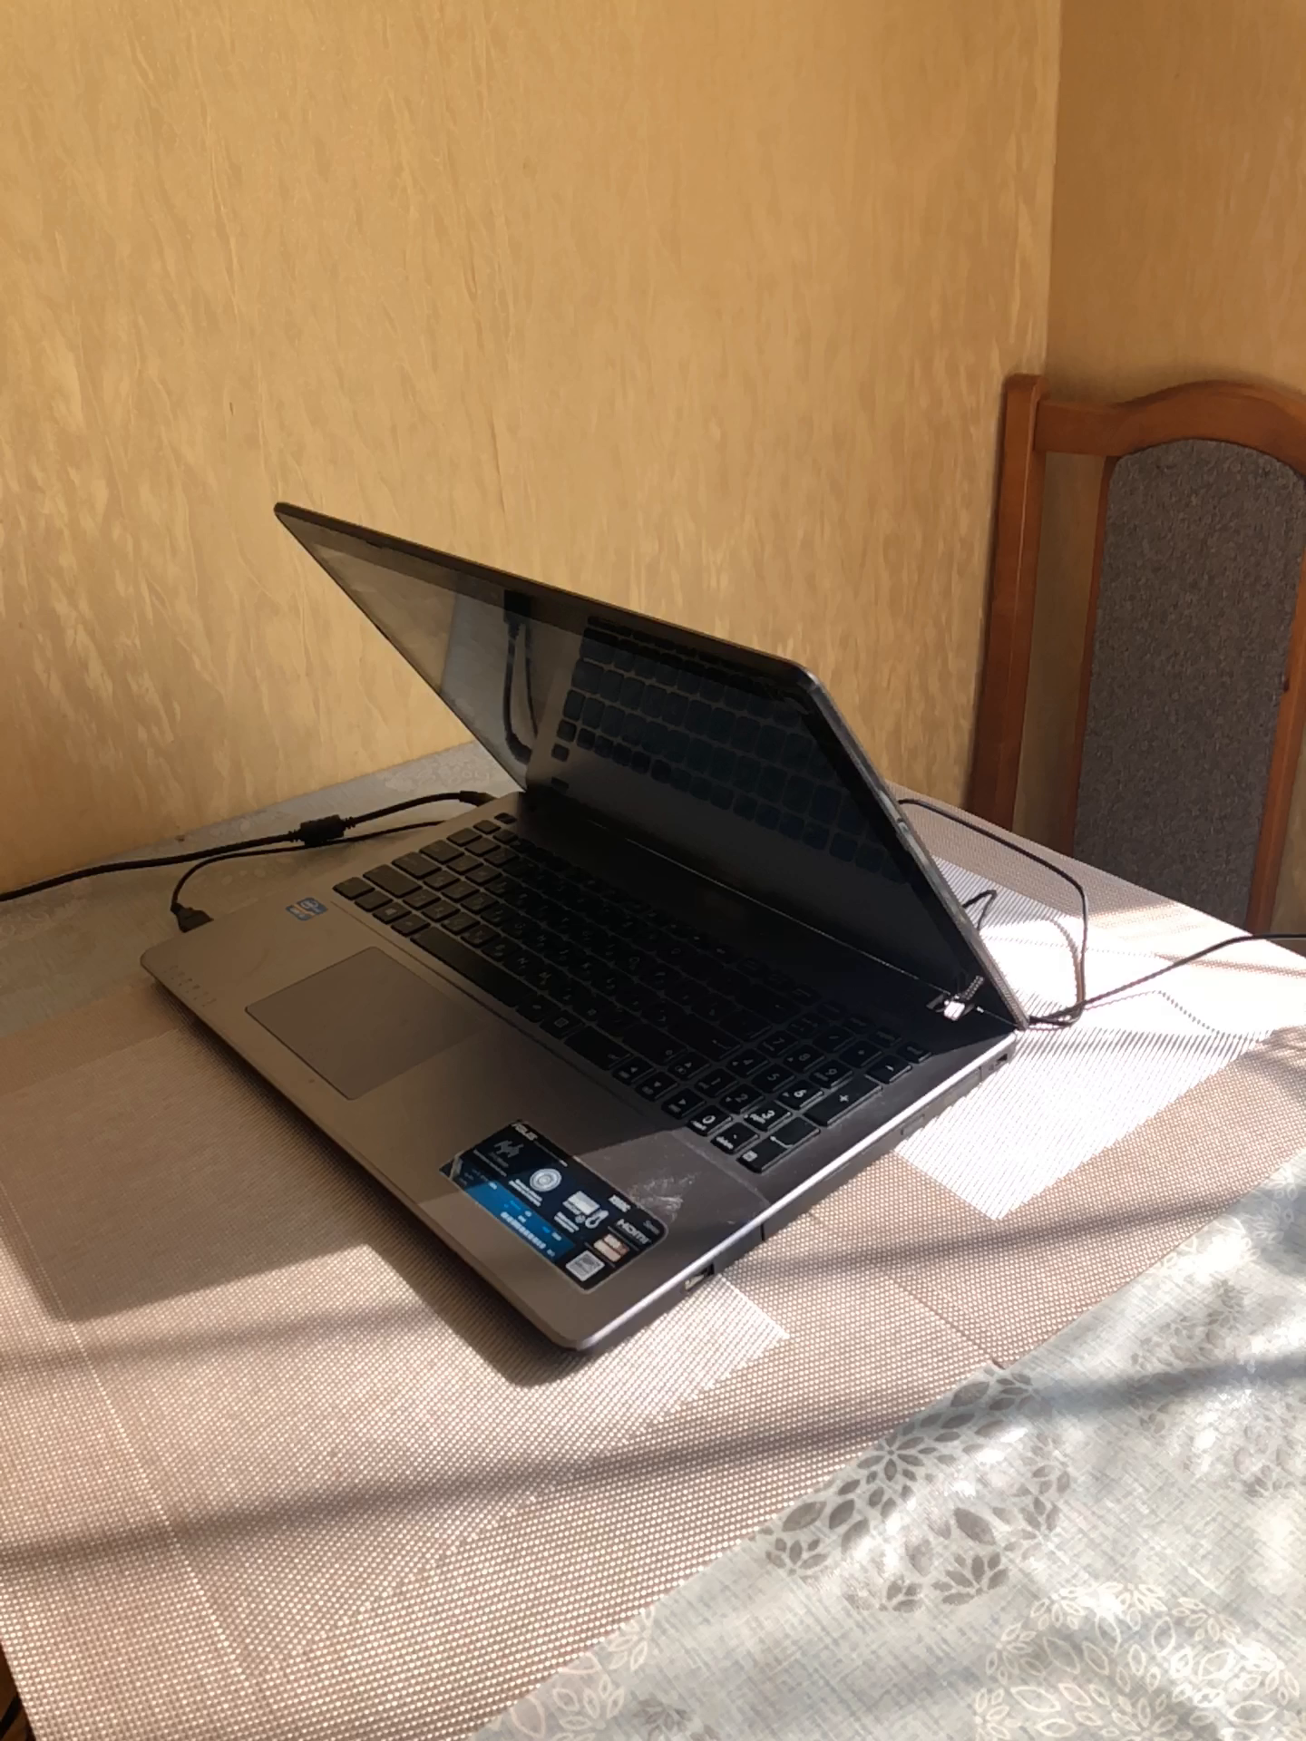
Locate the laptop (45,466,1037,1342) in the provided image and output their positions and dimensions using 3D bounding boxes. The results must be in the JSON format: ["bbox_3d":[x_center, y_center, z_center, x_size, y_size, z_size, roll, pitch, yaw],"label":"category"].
[{"bbox_3d":[-0.061,-0.029,0.637,0.240,0.197,0.365,-26,35,-32],"label":"laptop"}]
